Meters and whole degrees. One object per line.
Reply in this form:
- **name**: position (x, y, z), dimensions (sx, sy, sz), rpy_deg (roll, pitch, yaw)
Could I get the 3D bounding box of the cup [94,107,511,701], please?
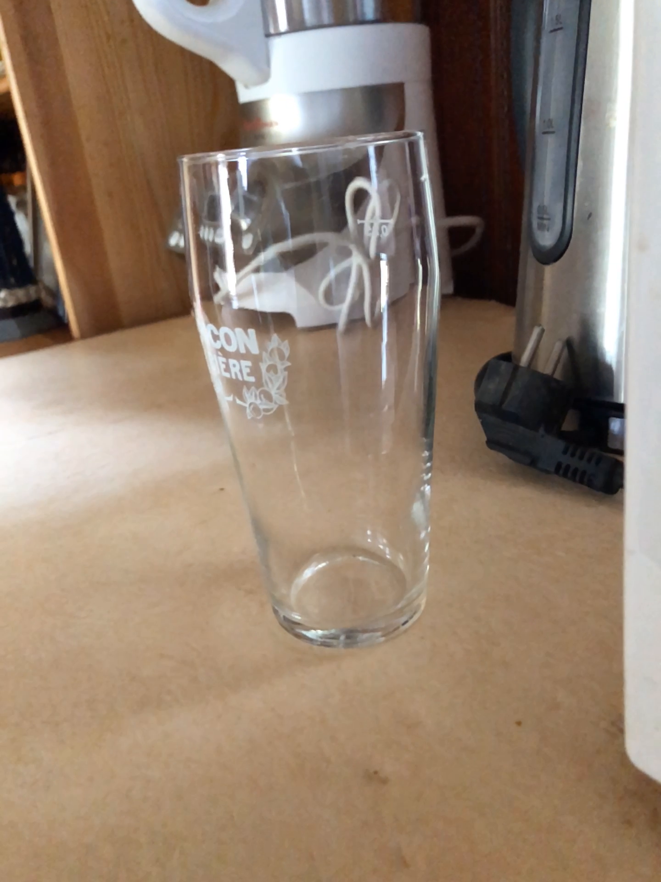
- **cup**: position (-0.001, -0.015, 0.202), dimensions (0.070, 0.129, 0.070), rpy_deg (-6, 22, 2)
